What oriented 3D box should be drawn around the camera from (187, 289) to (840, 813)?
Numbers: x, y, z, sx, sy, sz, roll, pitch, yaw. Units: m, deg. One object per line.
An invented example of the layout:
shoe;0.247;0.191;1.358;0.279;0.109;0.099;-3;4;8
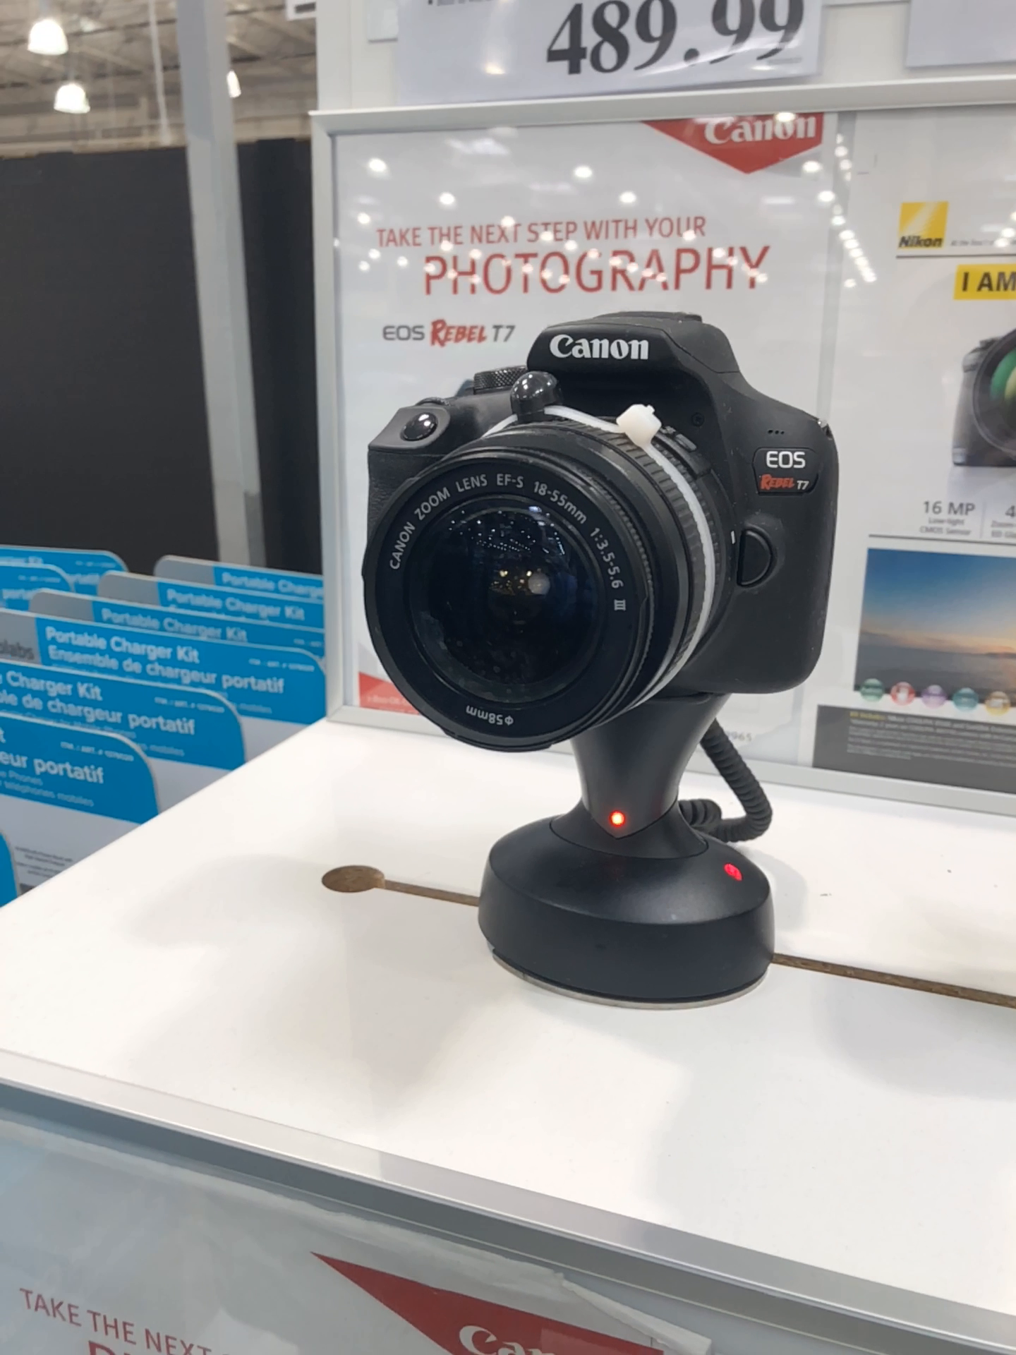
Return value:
camera;0.011;-0.042;0.289;0.130;0.100;0.120;5;16;17
